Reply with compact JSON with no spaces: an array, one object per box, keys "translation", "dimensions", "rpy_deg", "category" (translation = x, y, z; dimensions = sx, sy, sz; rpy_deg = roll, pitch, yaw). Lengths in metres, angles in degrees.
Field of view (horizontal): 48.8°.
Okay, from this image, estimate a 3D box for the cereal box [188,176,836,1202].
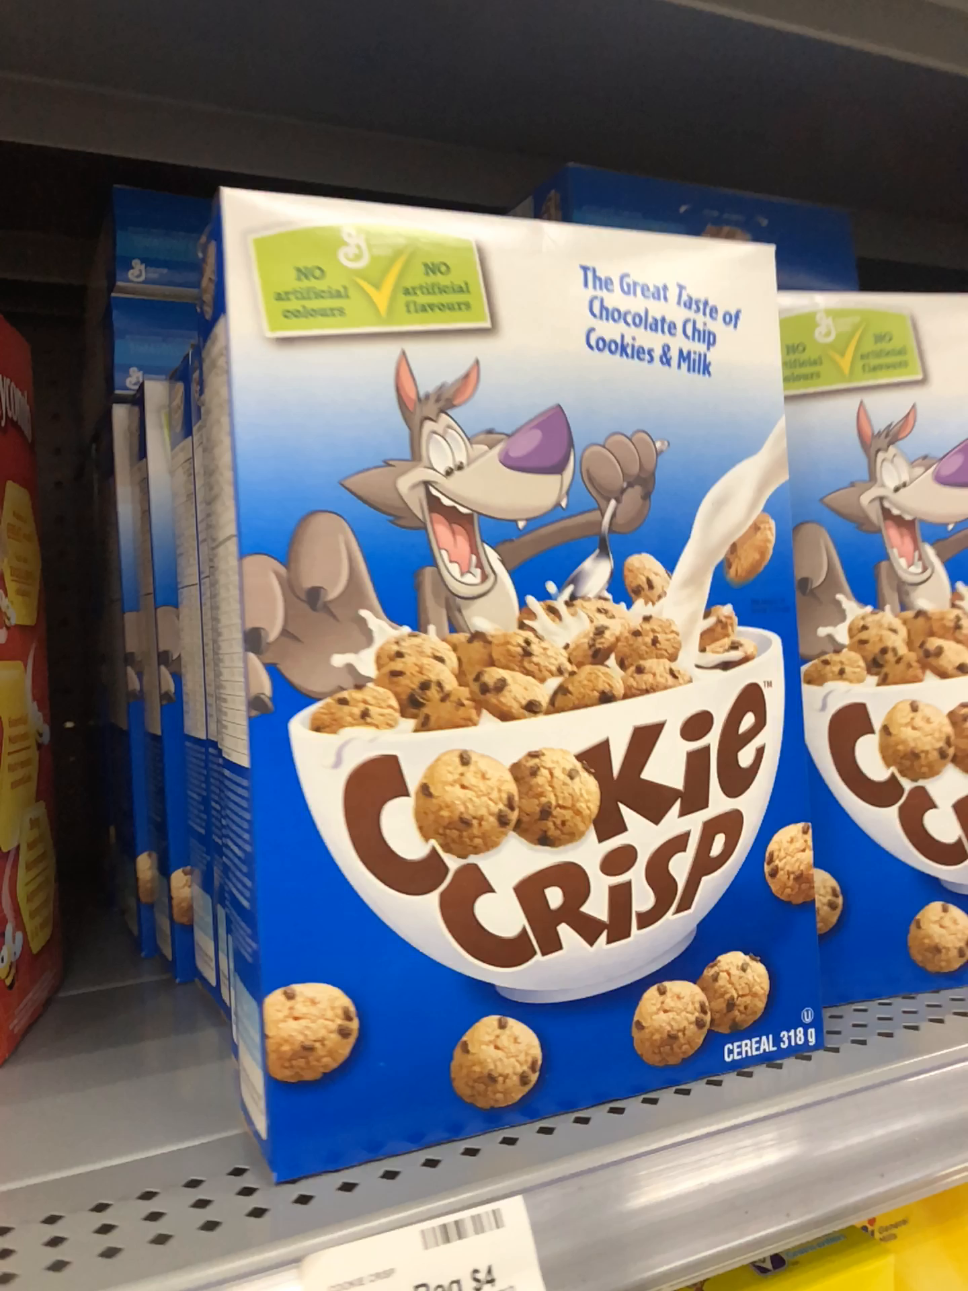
[{"translation":[0.015,0.006,0.356],"dimensions":[0.200,0.280,0.050],"rpy_deg":[-3,0,-25],"category":"cereal box"}]
